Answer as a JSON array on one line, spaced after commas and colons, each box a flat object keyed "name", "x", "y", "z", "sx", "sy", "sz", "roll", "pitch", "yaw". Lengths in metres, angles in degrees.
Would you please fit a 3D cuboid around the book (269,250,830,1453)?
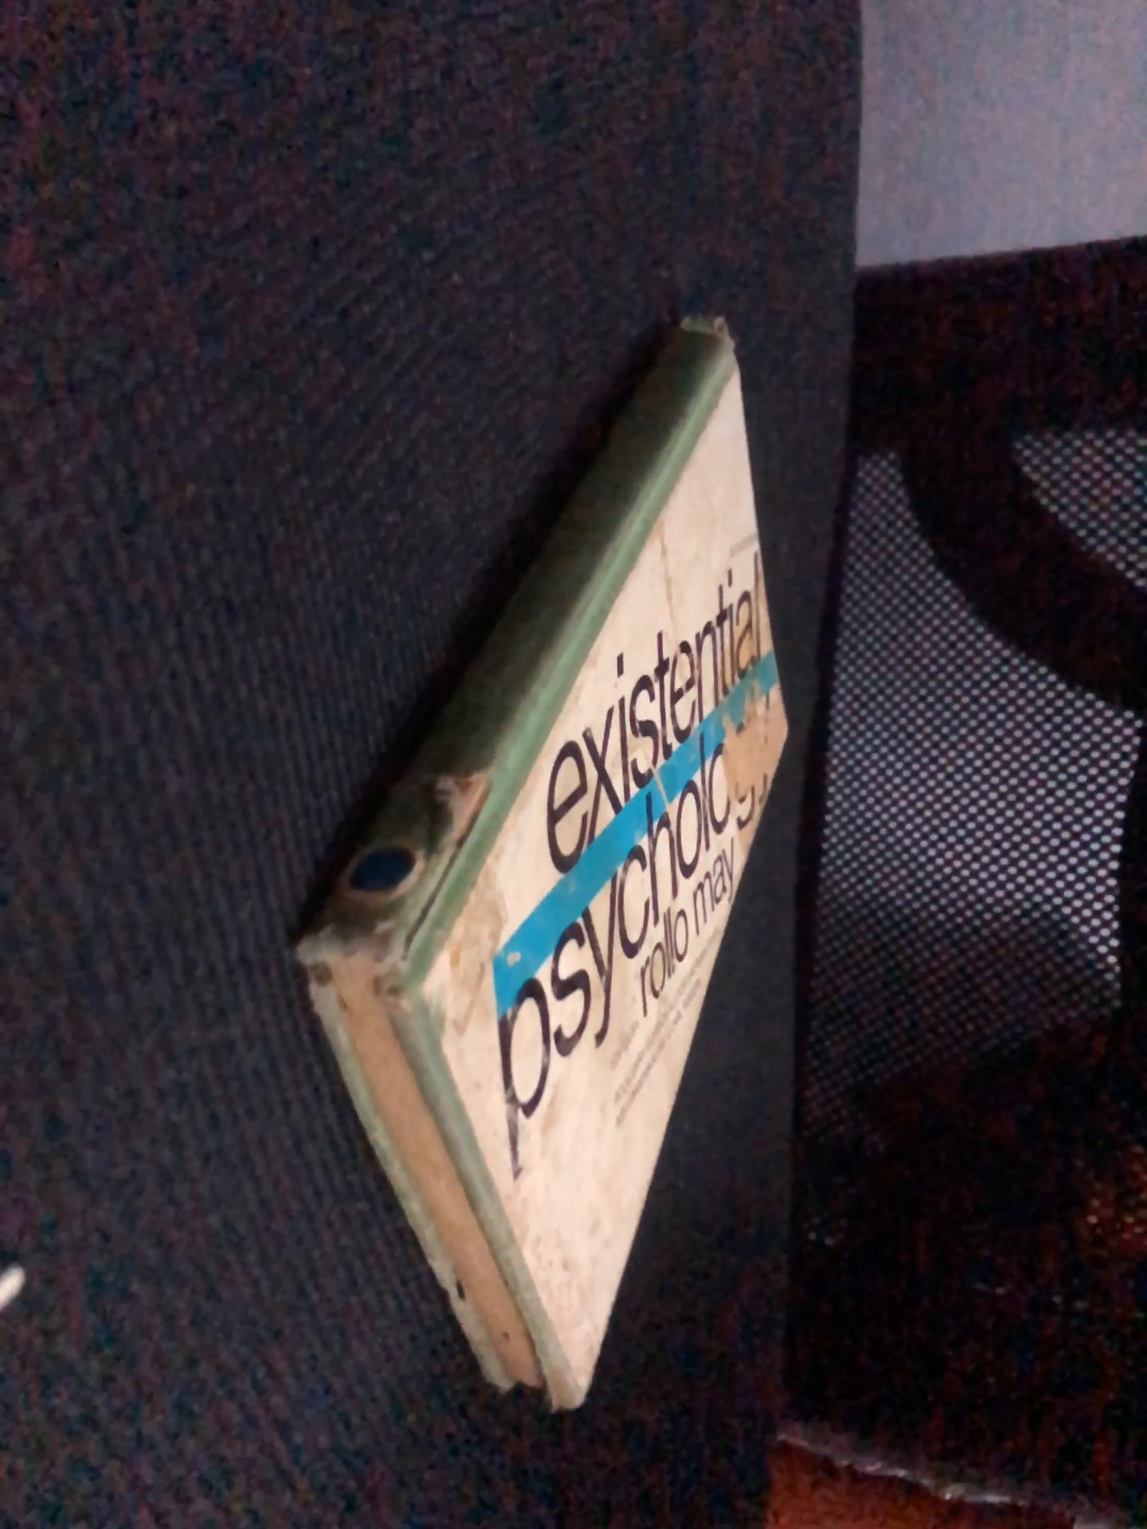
[{"name": "book", "x": 0.019, "y": 0.002, "z": 0.246, "sx": 0.201, "sy": 0.020, "sz": 0.126, "roll": -64, "pitch": 151, "yaw": -44}]
